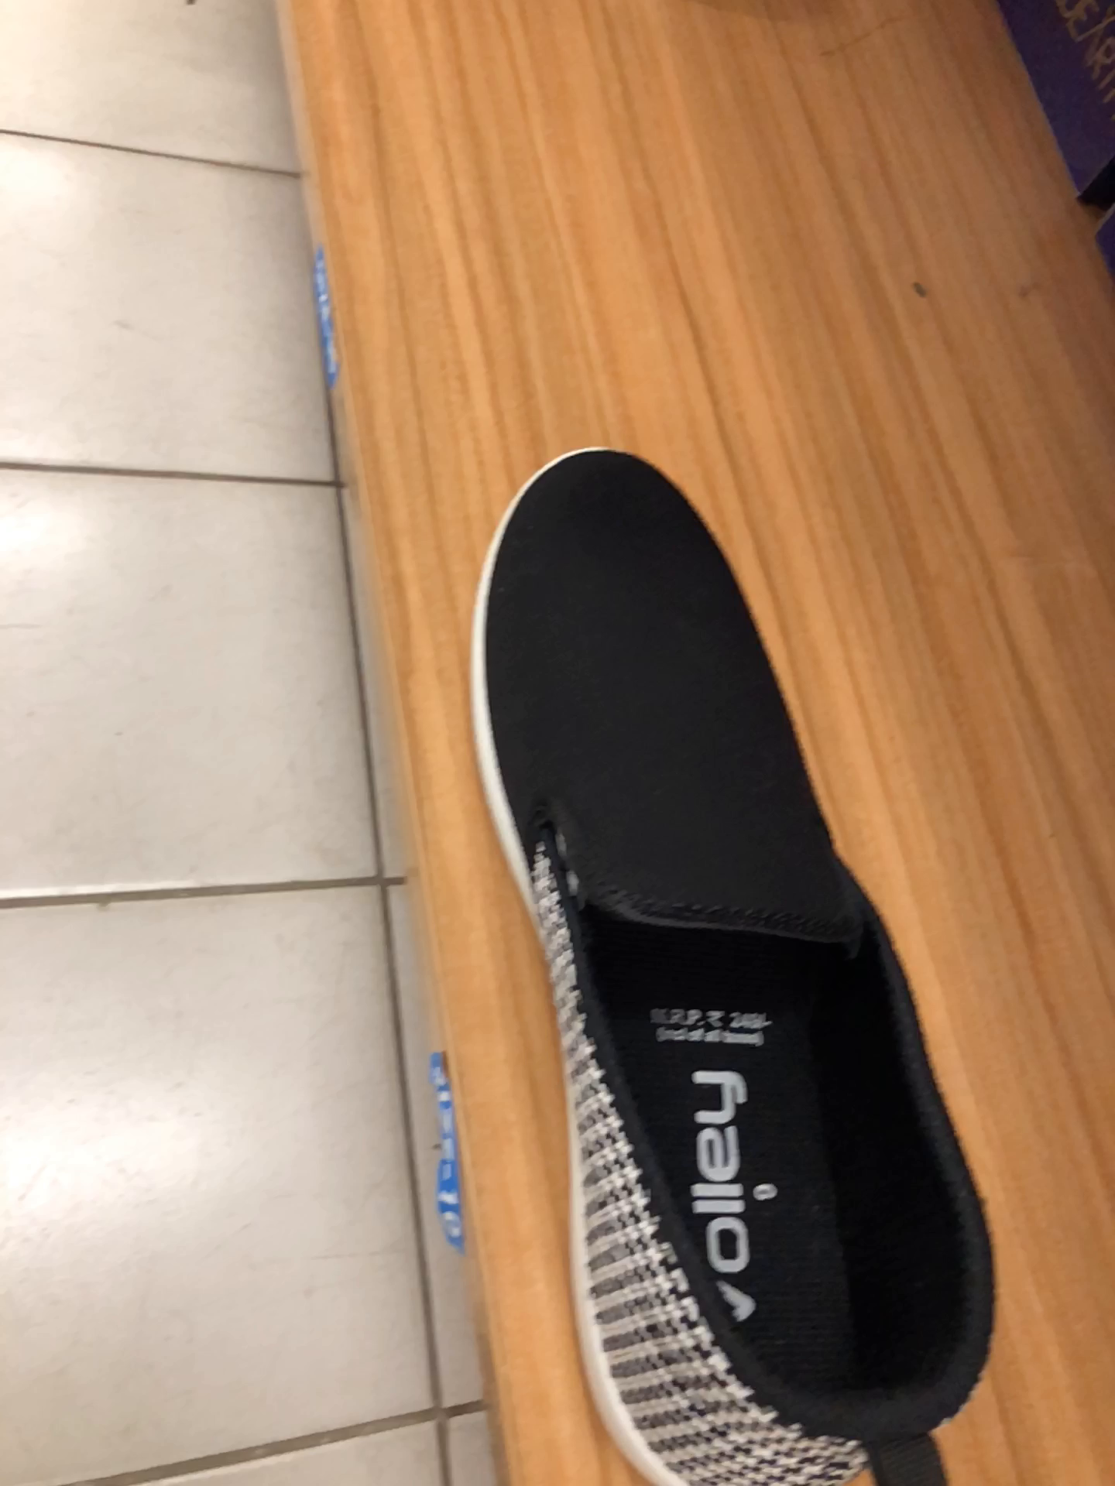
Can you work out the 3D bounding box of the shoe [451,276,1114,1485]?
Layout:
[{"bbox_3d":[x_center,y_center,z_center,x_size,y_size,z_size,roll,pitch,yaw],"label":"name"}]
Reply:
[{"bbox_3d":[0.049,0.035,0.308,0.100,0.090,0.291,0,66,-21],"label":"shoe"}]
